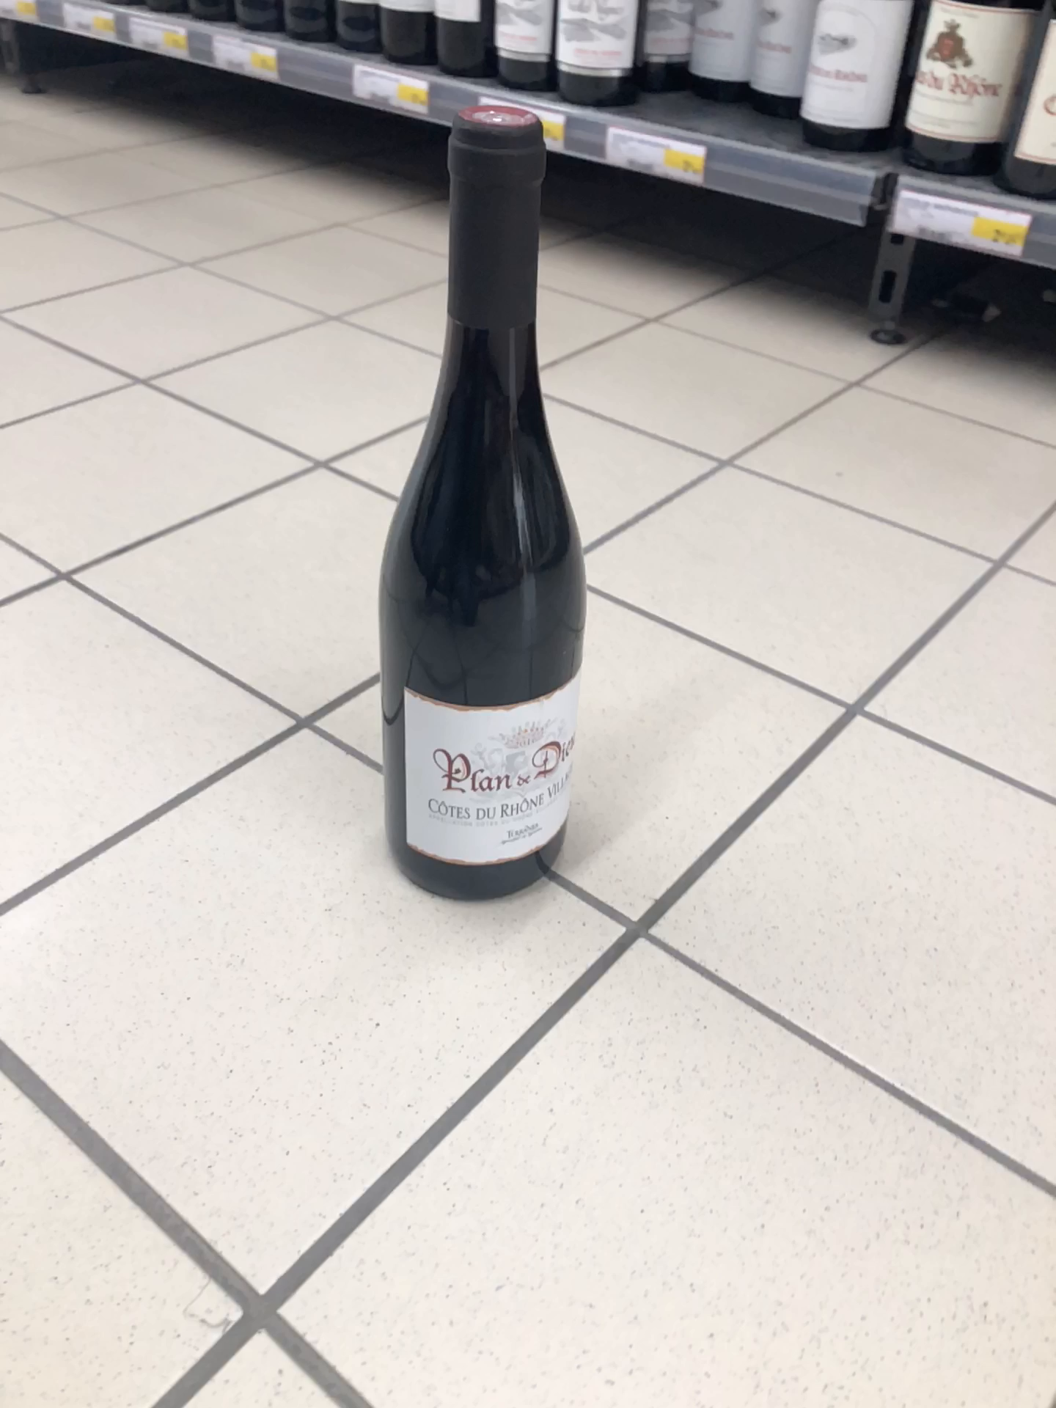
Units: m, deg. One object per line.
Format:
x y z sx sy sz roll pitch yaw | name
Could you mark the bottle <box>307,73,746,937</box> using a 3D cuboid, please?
-0.011 -0.062 0.430 0.100 0.288 0.100 2 36 -2 | bottle
